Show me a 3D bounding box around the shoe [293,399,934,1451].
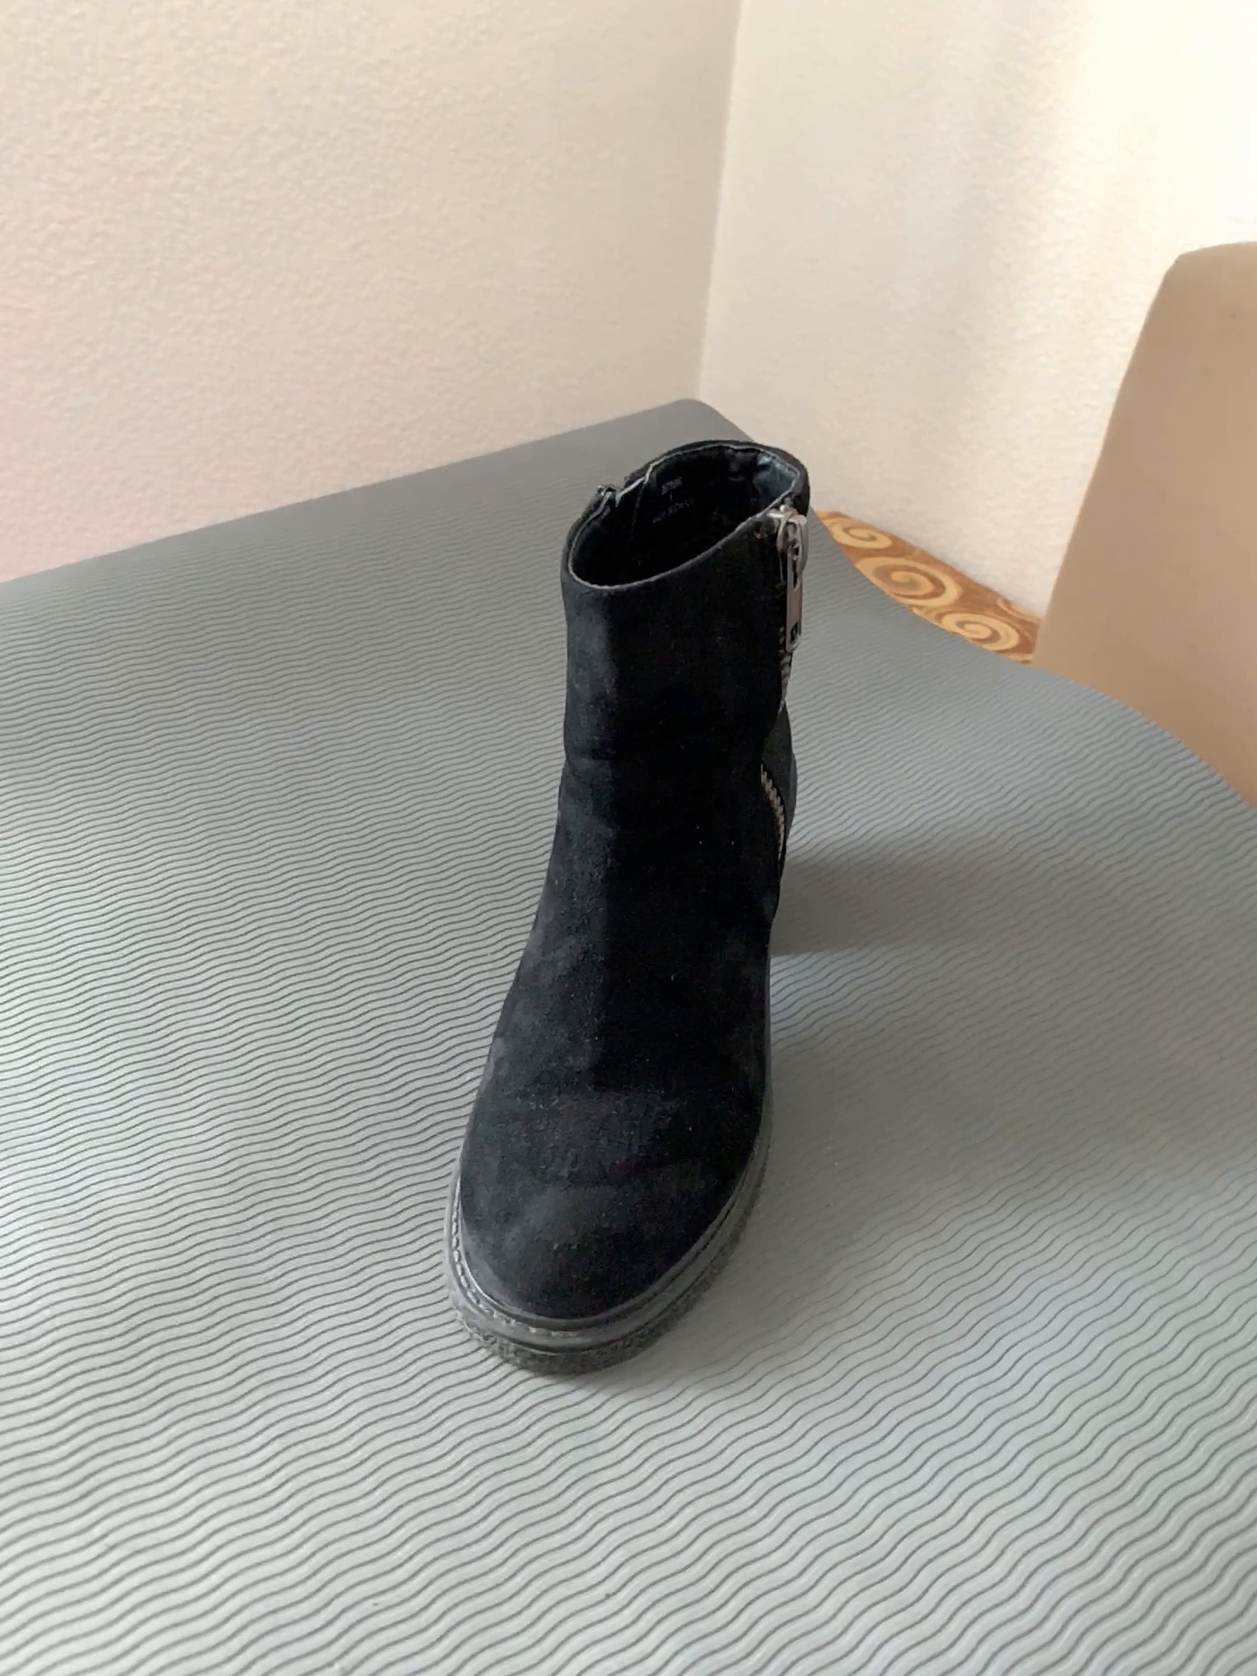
[{"bbox_3d":[0.010,0.004,0.375,0.098,0.179,0.241,13,36,10],"label":"shoe"}]
